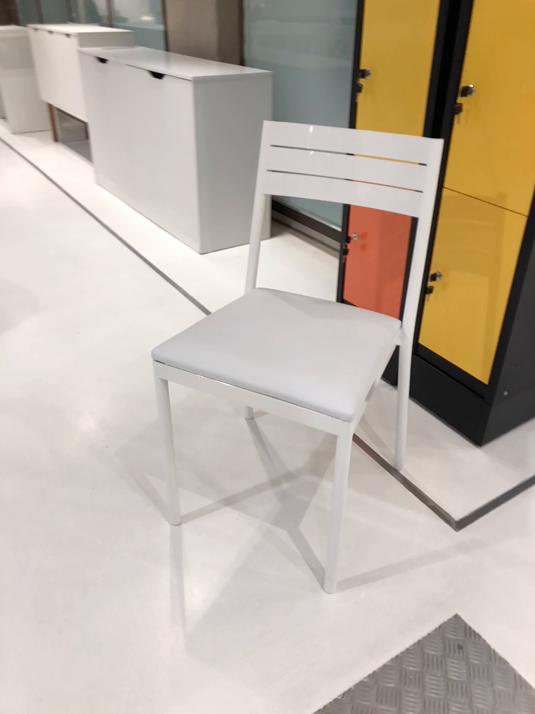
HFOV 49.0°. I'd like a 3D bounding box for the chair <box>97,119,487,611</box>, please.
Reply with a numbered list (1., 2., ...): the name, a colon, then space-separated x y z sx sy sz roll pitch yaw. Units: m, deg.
1. chair: 0.076 -0.029 1.193 0.481 0.734 0.533 16 35 24
